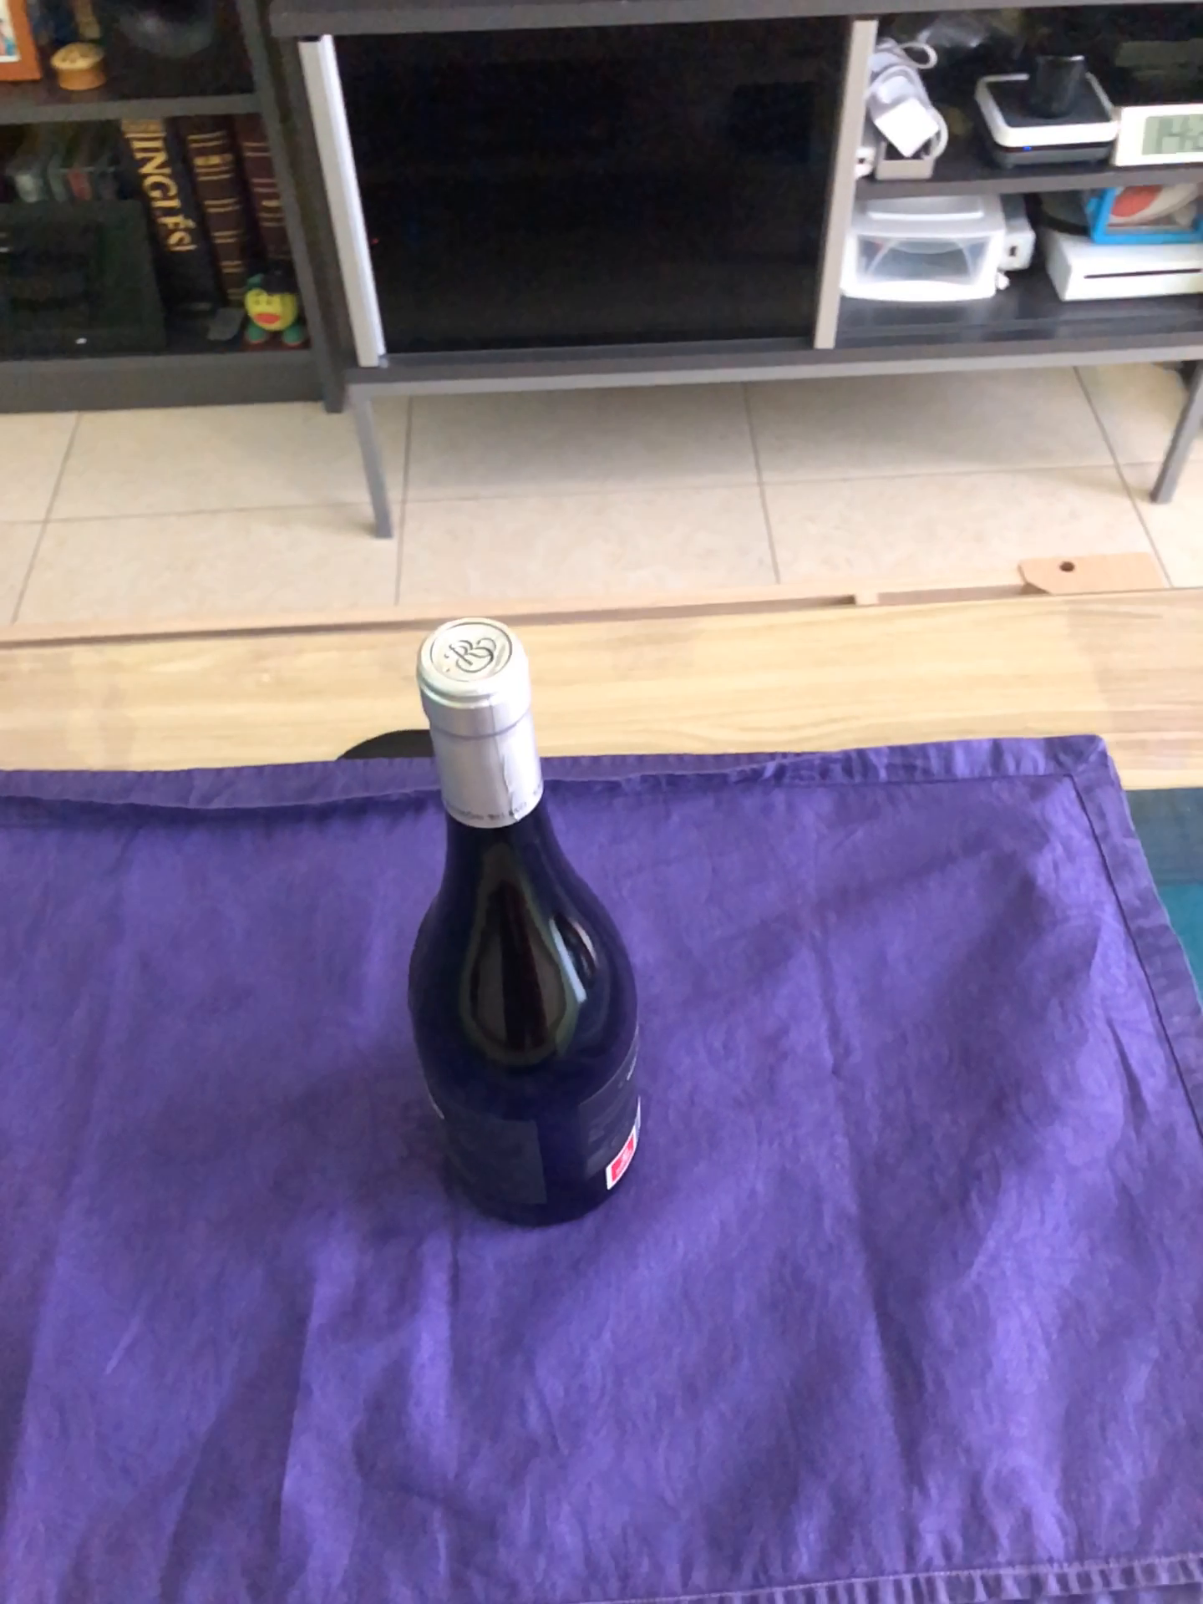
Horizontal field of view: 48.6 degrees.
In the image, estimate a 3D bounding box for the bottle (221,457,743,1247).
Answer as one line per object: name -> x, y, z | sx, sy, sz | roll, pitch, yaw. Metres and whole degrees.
bottle -> -0.023, 0.036, 0.438 | 0.100, 0.269, 0.100 | -1, 52, 1
